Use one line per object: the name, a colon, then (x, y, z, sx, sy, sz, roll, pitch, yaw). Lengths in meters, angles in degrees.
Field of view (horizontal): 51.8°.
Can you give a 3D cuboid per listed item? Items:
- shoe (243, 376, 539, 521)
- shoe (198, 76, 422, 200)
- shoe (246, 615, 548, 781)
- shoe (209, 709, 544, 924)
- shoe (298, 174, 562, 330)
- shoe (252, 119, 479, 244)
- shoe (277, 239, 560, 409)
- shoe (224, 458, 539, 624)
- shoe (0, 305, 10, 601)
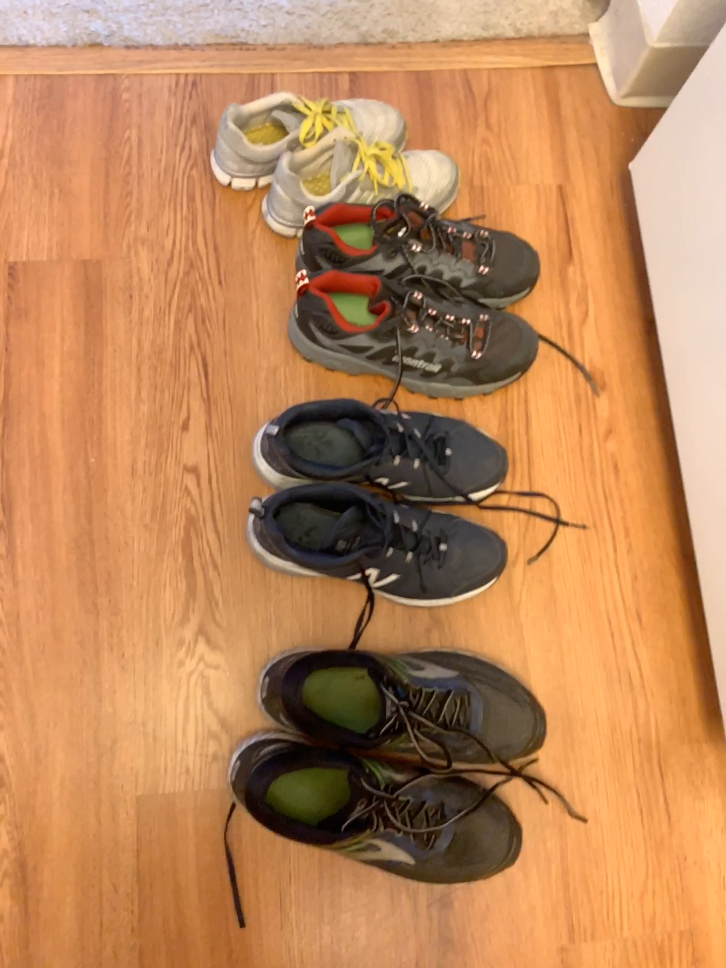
shoe: (0.029, -0.035, 0.840, 0.310, 0.100, 0.120, 4, 77, -4)
shoe: (-0.069, -0.451, 0.978, 0.270, 0.080, 0.080, -12, 78, -8)
shoe: (0.033, 0.226, 0.802, 0.290, 0.110, 0.110, 11, 76, -2)
shoe: (0.012, 0.339, 0.784, 0.310, 0.110, 0.110, 17, 76, -1)
shoe: (0.078, -0.280, 0.914, 0.300, 0.090, 0.100, 10, 76, -3)
shoe: (0.001, -0.389, 0.964, 0.270, 0.080, 0.080, -12, 78, -8)
shoe: (0.063, -0.187, 0.892, 0.310, 0.090, 0.120, 10, 76, -3)
shoe: (0.019, 0.067, 0.813, 0.310, 0.100, 0.120, 9, 76, -3)
shoe: (-0.497, -0.032, 0.804, 0.110, 0.080, 0.290, 14, 76, -2)
